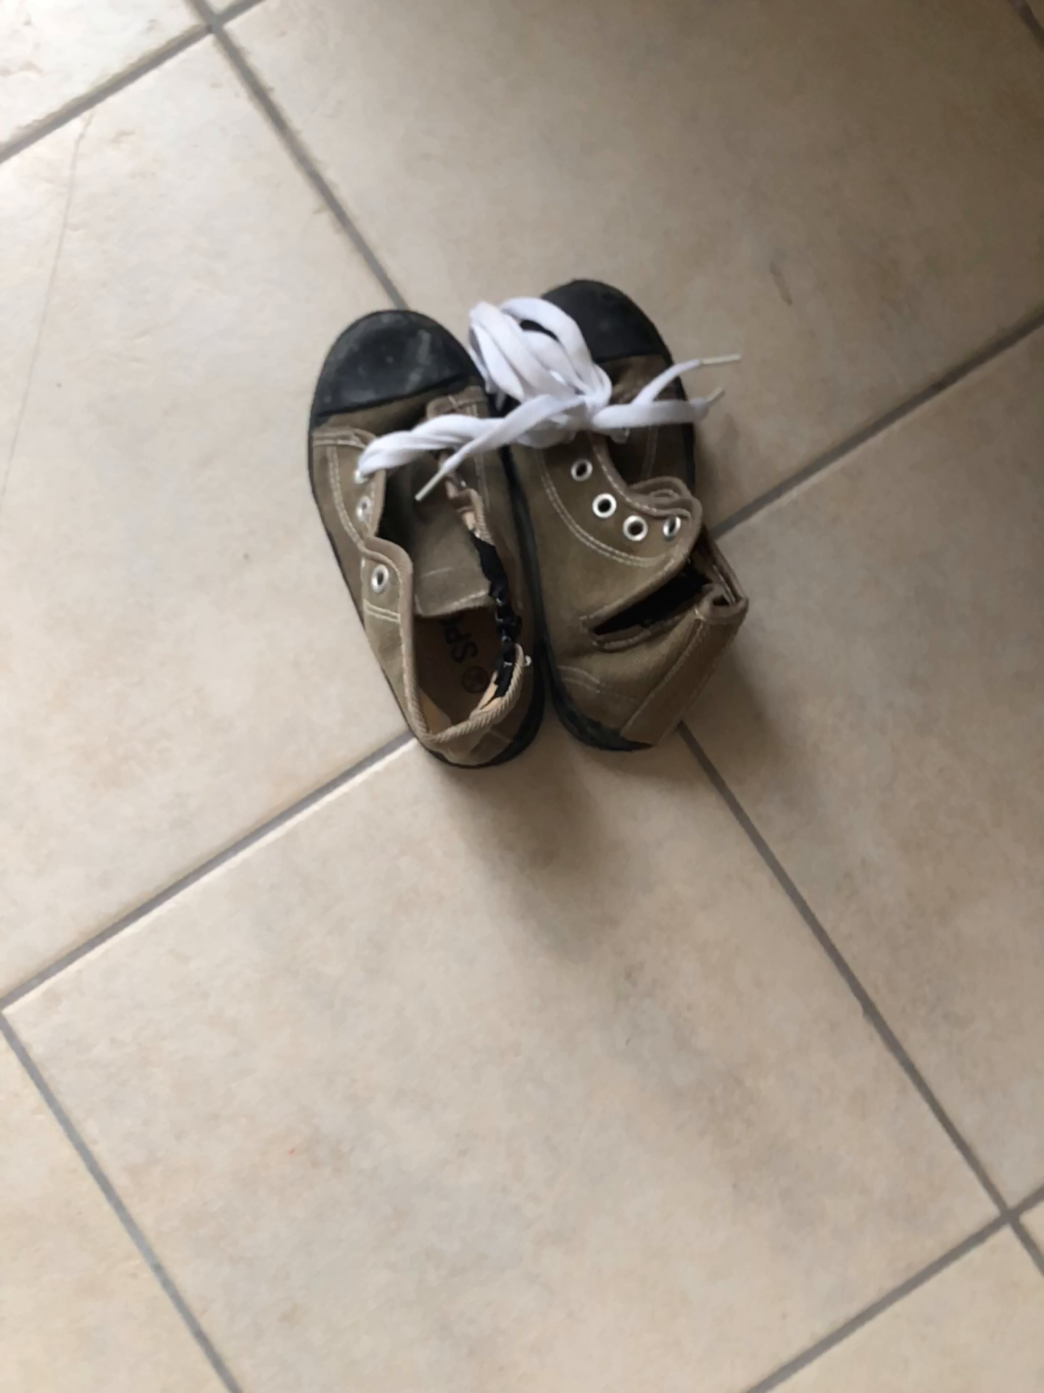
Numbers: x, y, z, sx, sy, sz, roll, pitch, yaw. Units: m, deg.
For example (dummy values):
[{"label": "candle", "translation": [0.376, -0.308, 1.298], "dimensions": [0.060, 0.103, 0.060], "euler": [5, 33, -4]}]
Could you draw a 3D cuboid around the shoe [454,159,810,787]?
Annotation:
[{"label": "shoe", "translation": [0.036, -0.073, 0.441], "dimensions": [0.080, 0.110, 0.200], "euler": [-11, 87, -1]}]

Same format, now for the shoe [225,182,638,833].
[{"label": "shoe", "translation": [-0.031, -0.061, 0.434], "dimensions": [0.080, 0.110, 0.200], "euler": [-17, 87, -2]}]
